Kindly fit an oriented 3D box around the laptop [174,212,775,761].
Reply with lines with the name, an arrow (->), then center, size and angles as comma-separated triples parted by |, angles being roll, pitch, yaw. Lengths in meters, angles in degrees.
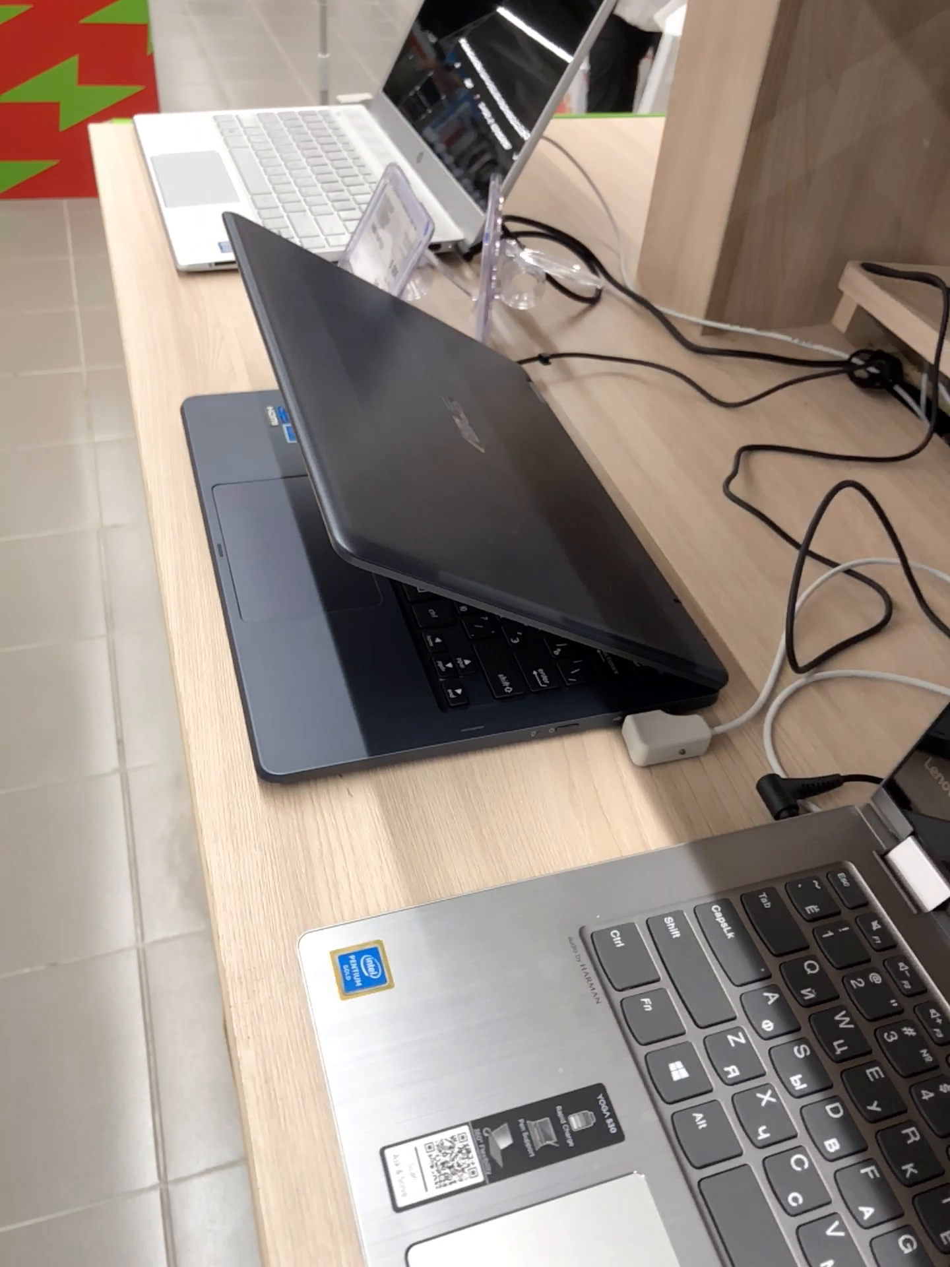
laptop -> -0.024, -0.090, 0.482 | 0.185, 0.097, 0.273 | -8, 44, -16
